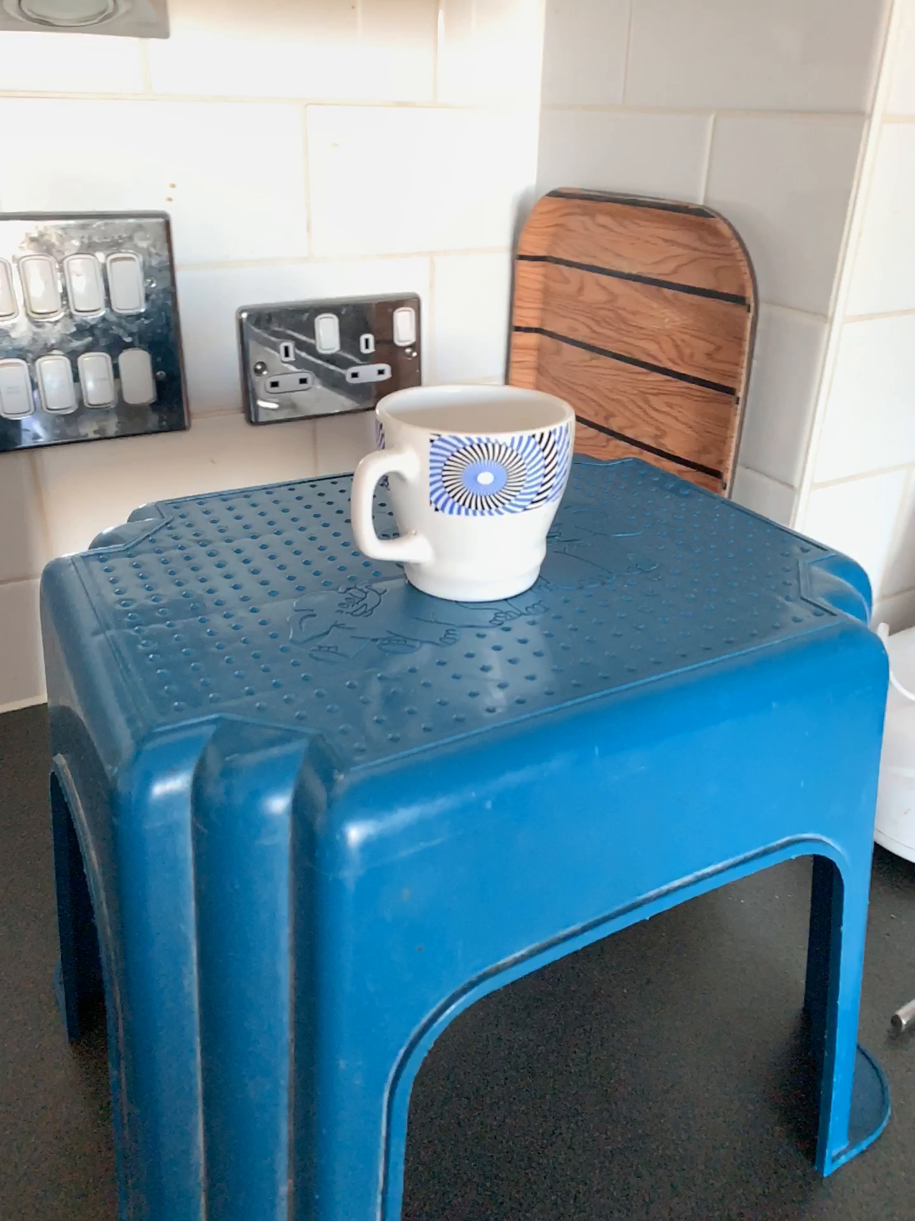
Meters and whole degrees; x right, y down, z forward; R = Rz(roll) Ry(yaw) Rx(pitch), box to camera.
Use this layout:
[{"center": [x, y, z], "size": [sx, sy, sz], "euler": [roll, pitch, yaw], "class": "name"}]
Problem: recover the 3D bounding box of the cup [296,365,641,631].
[{"center": [0.000, -0.043, 0.317], "size": [0.085, 0.055, 0.079], "euler": [1, 27, -1], "class": "cup"}]
